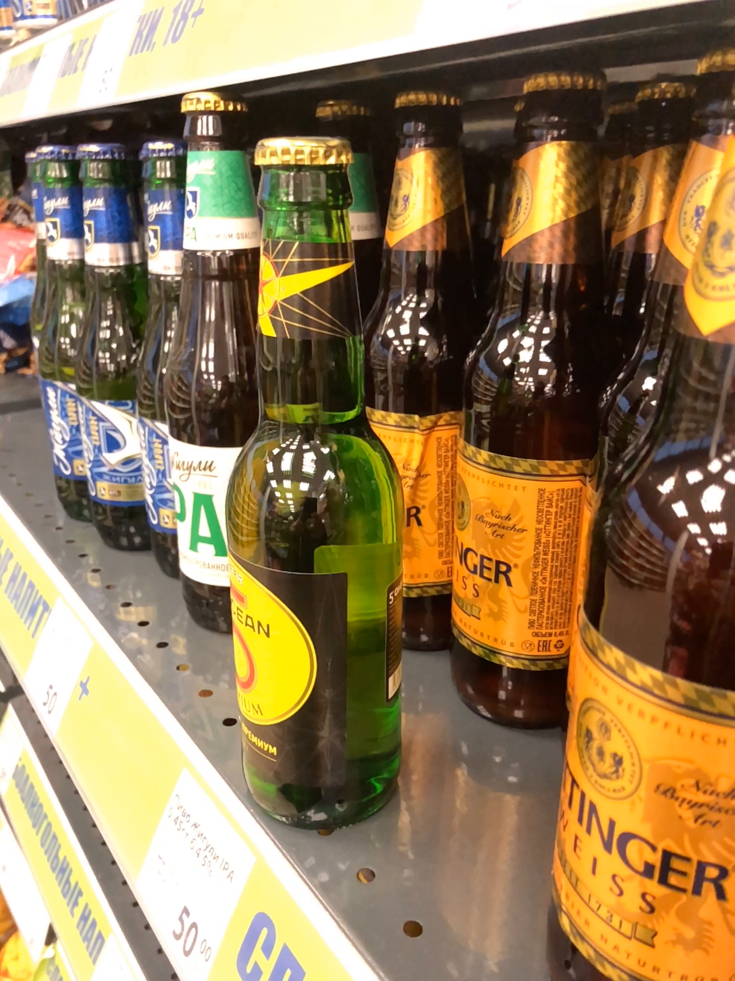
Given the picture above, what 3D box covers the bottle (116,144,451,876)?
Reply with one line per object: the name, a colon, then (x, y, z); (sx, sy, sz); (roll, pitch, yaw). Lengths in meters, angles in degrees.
bottle: (-0.023, 0.005, 0.261); (0.070, 0.210, 0.070); (-2, 21, 1)
